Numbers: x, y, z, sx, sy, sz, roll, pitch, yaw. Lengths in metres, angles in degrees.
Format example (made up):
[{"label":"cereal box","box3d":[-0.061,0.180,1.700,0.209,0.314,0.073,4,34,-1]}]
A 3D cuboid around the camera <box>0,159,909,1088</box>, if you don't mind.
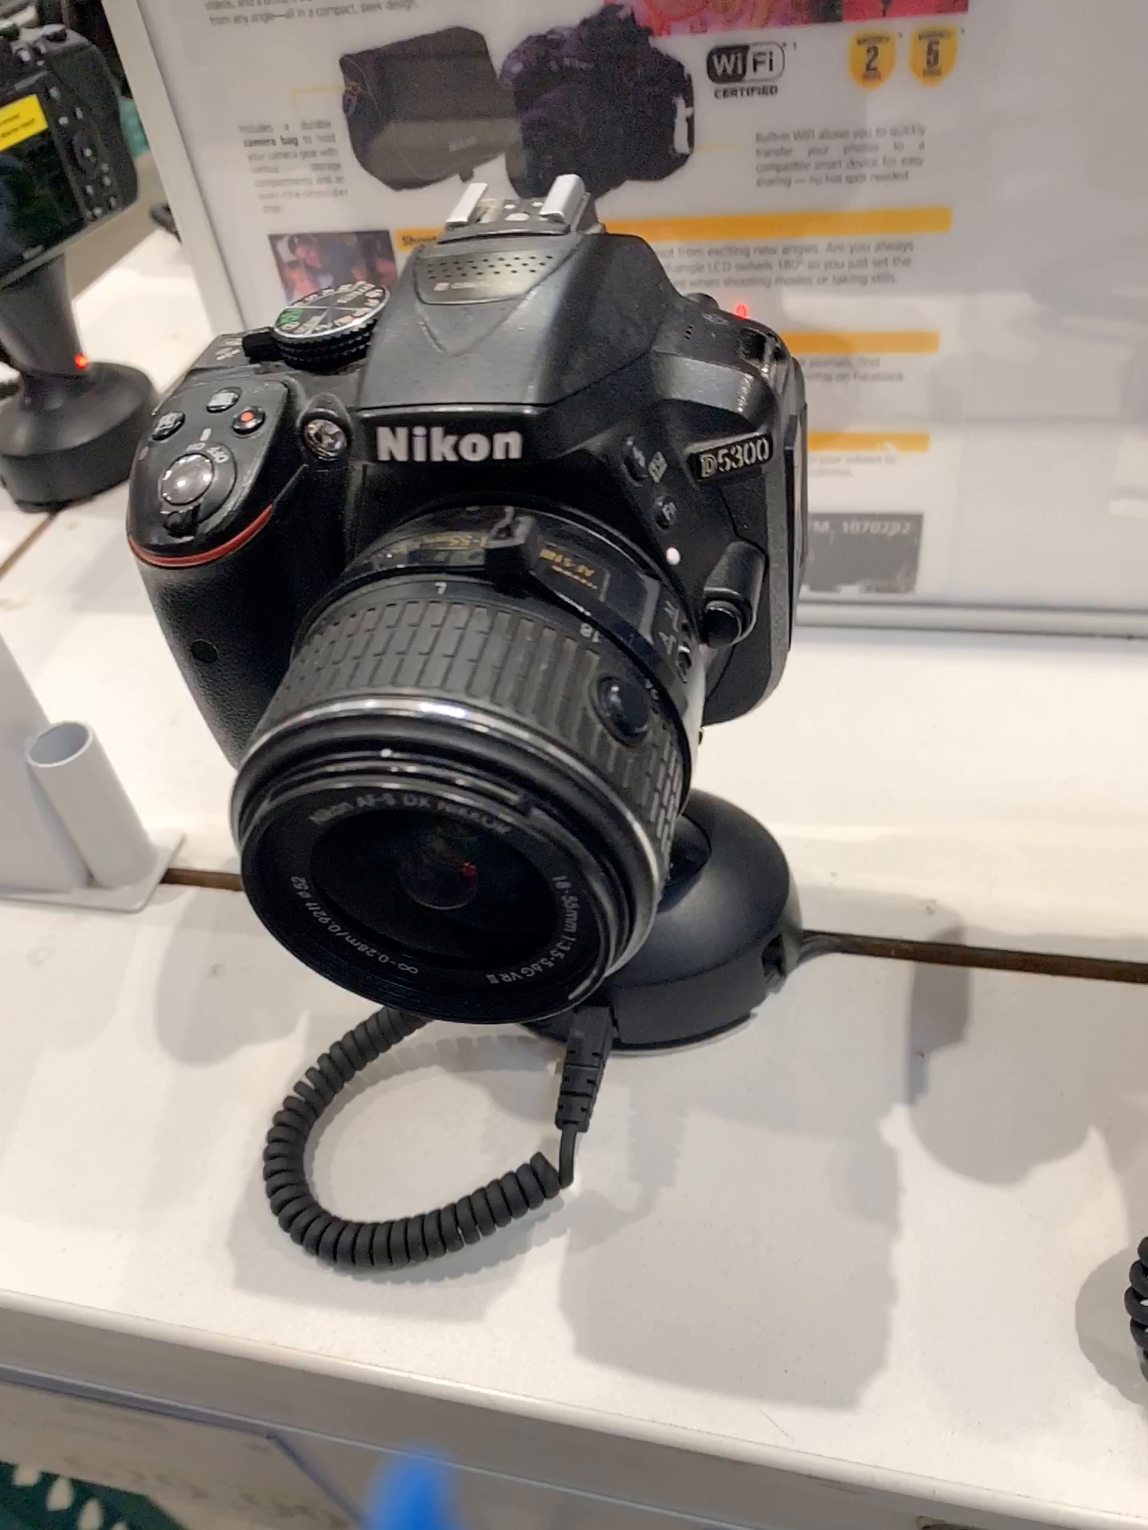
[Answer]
[{"label":"camera","box3d":[-0.015,-0.033,0.193,0.120,0.069,0.141,1,43,11]}]
